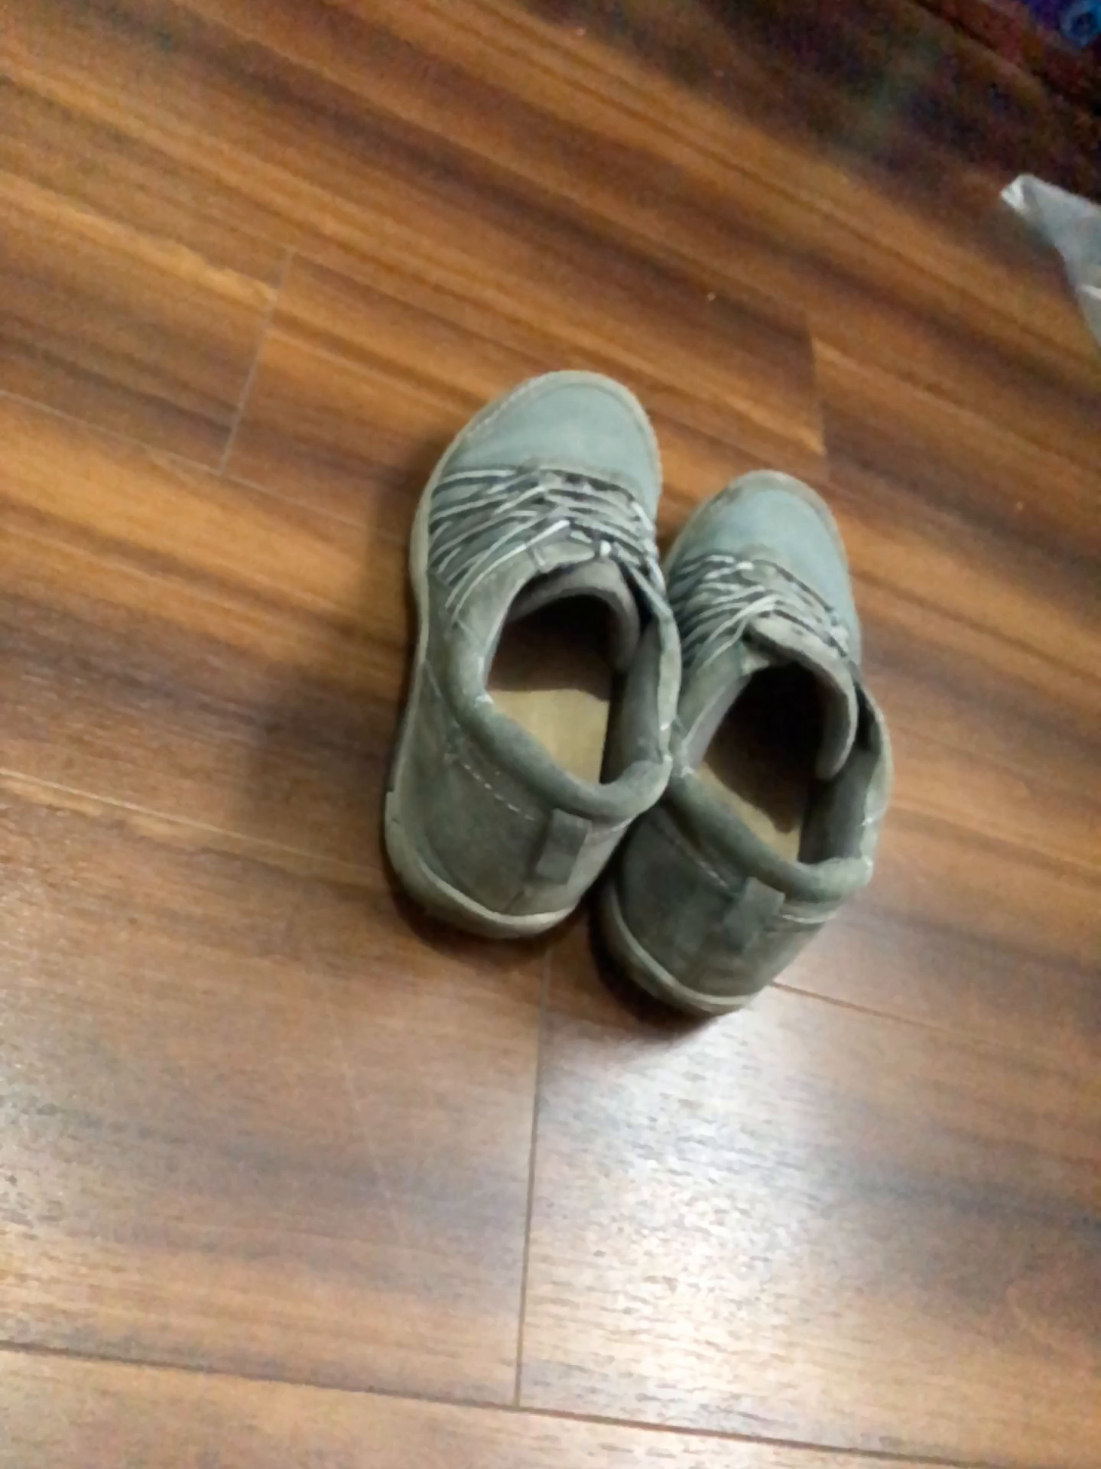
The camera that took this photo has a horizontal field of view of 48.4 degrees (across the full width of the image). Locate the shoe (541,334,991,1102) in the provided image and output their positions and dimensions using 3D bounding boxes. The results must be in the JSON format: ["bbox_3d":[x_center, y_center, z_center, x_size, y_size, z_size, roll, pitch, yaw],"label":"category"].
[{"bbox_3d":[0.097,-0.019,0.489,0.100,0.109,0.282,27,50,-11],"label":"shoe"}]

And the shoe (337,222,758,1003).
[{"bbox_3d":[0.005,-0.056,0.482,0.100,0.109,0.281,19,52,-18],"label":"shoe"}]
